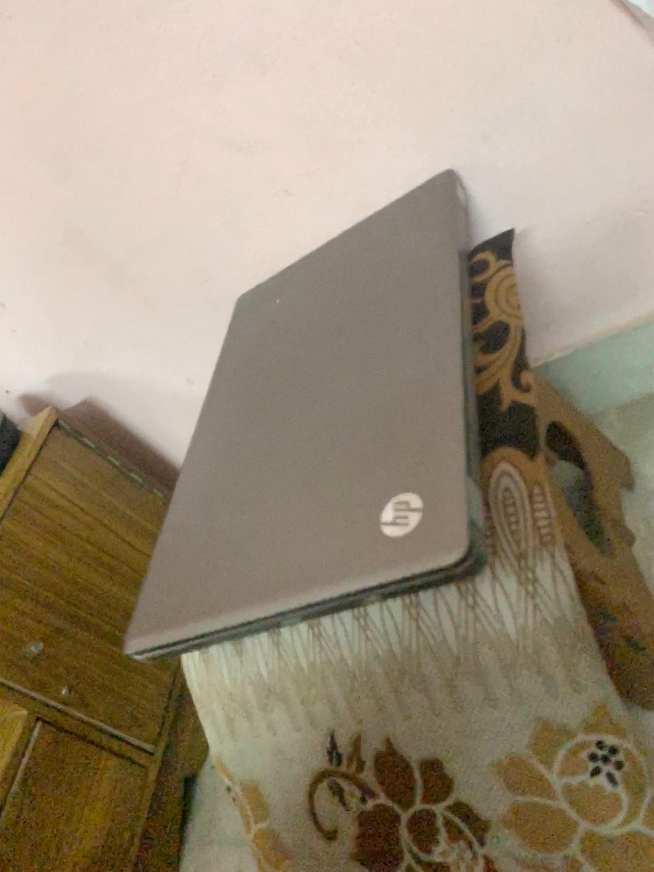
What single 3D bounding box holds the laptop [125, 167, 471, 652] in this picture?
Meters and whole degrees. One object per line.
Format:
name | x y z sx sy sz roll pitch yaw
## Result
laptop | -0.013 -0.042 0.495 0.250 0.002 0.380 -23 41 30
